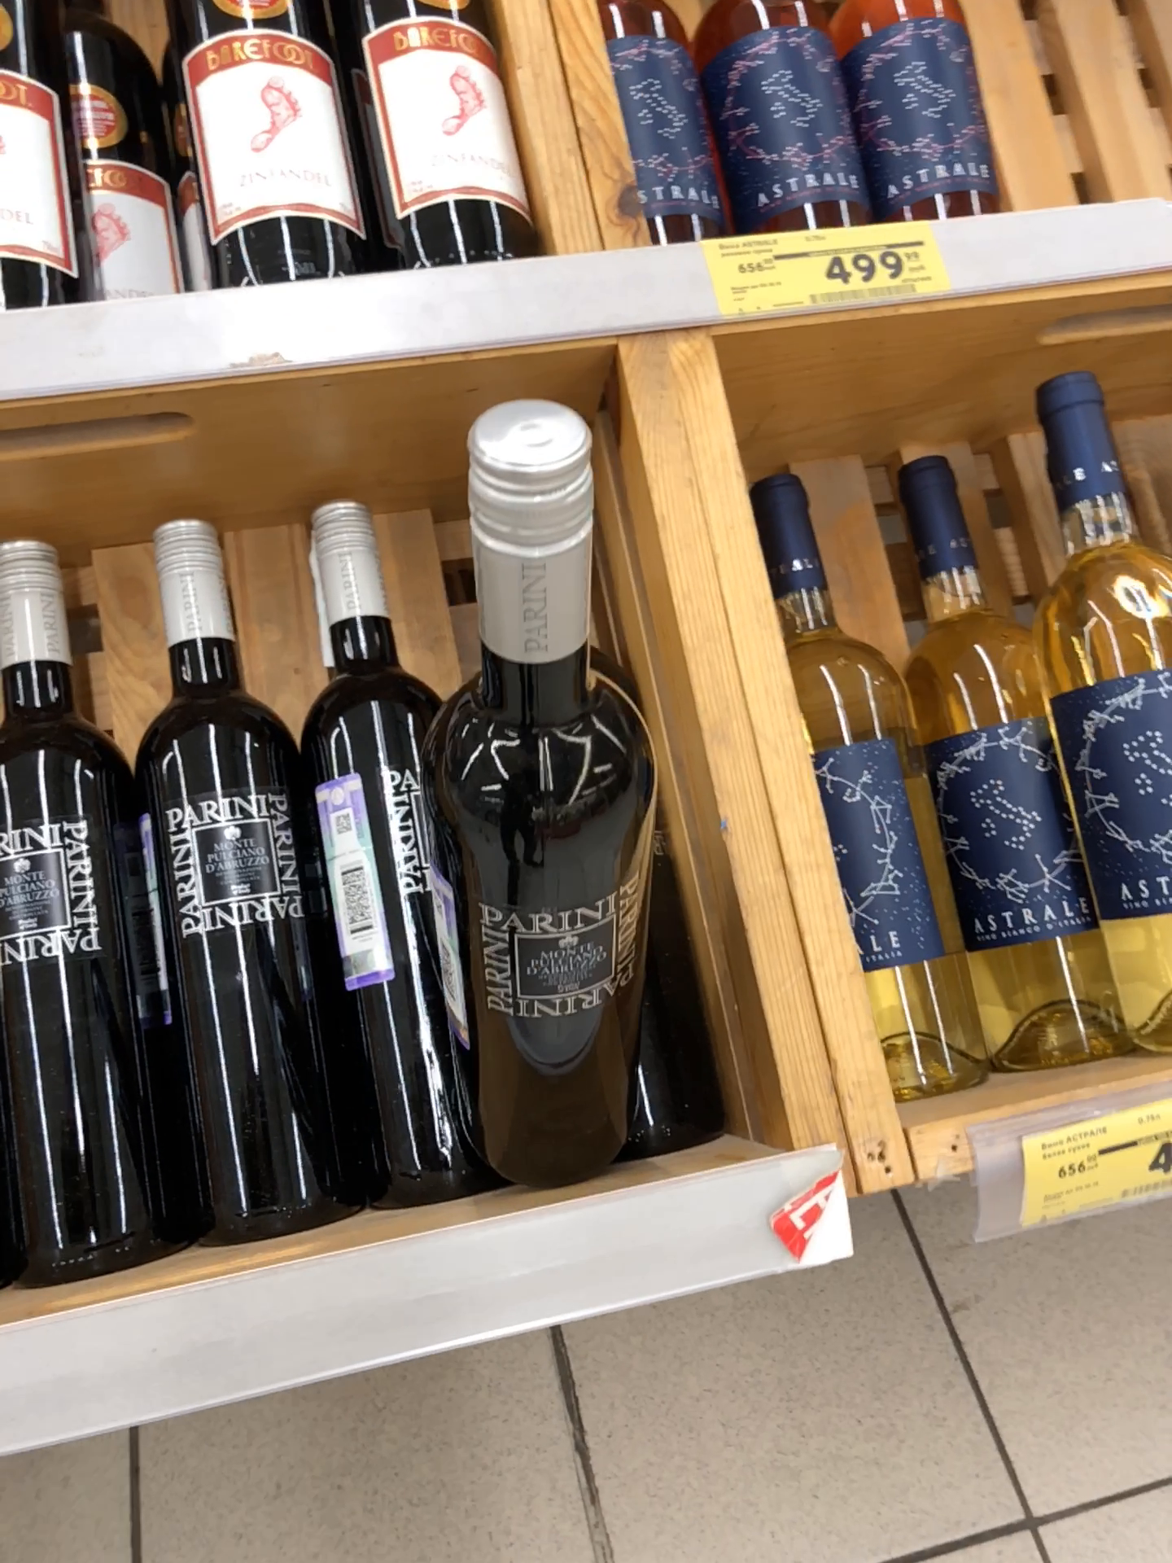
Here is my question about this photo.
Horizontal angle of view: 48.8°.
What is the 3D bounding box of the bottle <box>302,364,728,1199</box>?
[{"bbox_3d":[-0.020,0.021,0.399,0.090,0.278,0.080,-2,45,-4],"label":"bottle"}]
